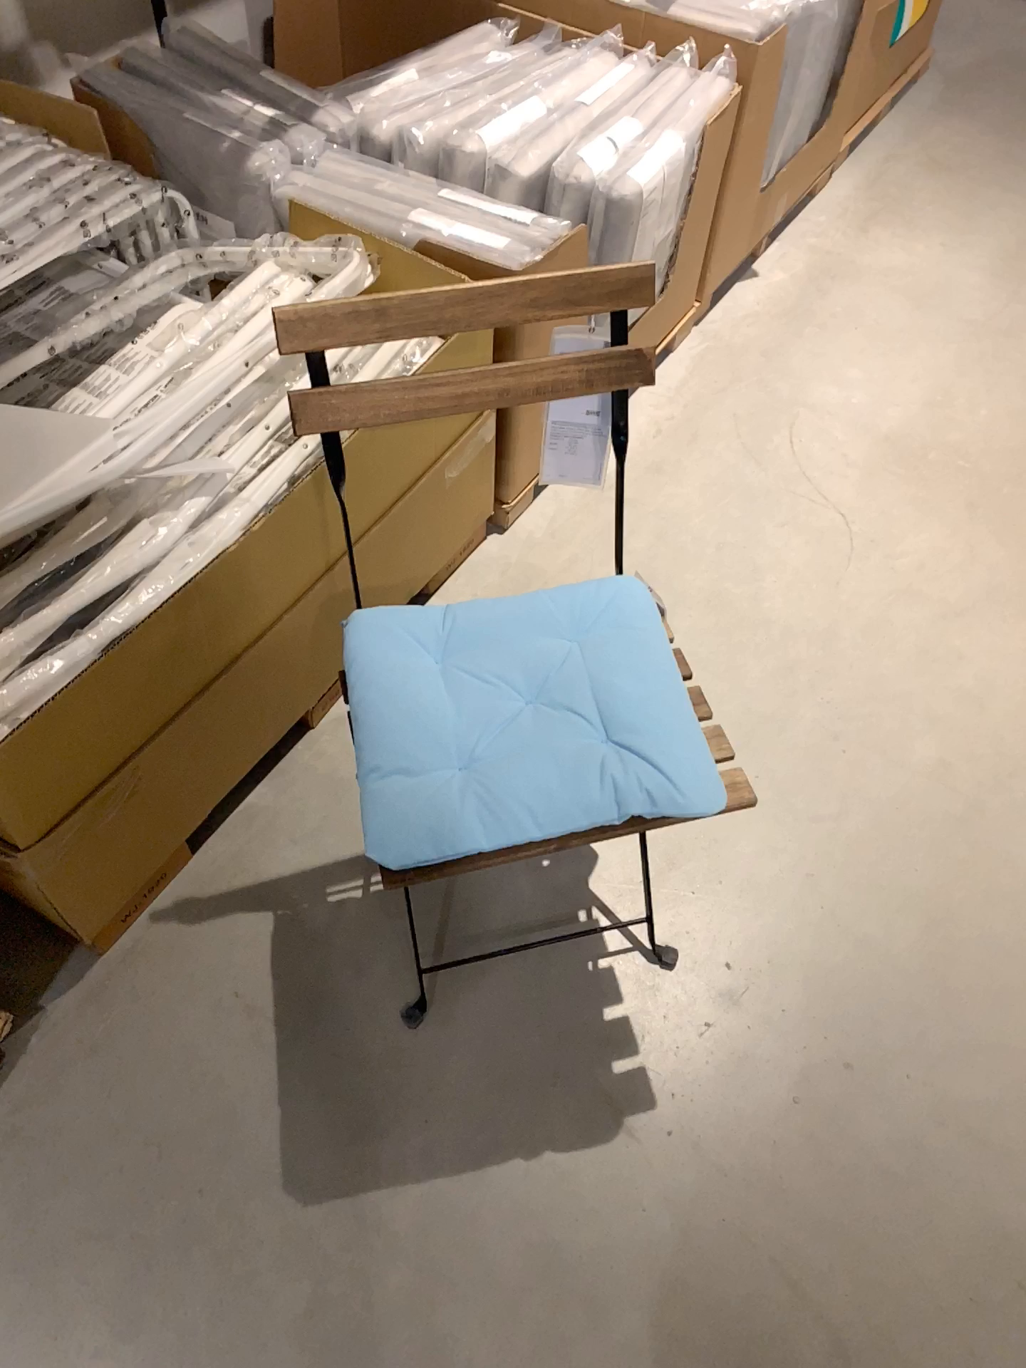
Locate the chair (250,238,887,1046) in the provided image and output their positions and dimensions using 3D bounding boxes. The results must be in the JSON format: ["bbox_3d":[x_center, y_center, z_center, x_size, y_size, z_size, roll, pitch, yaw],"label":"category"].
[{"bbox_3d":[0.003,0.004,1.142,0.400,0.738,0.461,-11,55,-11],"label":"chair"}]
